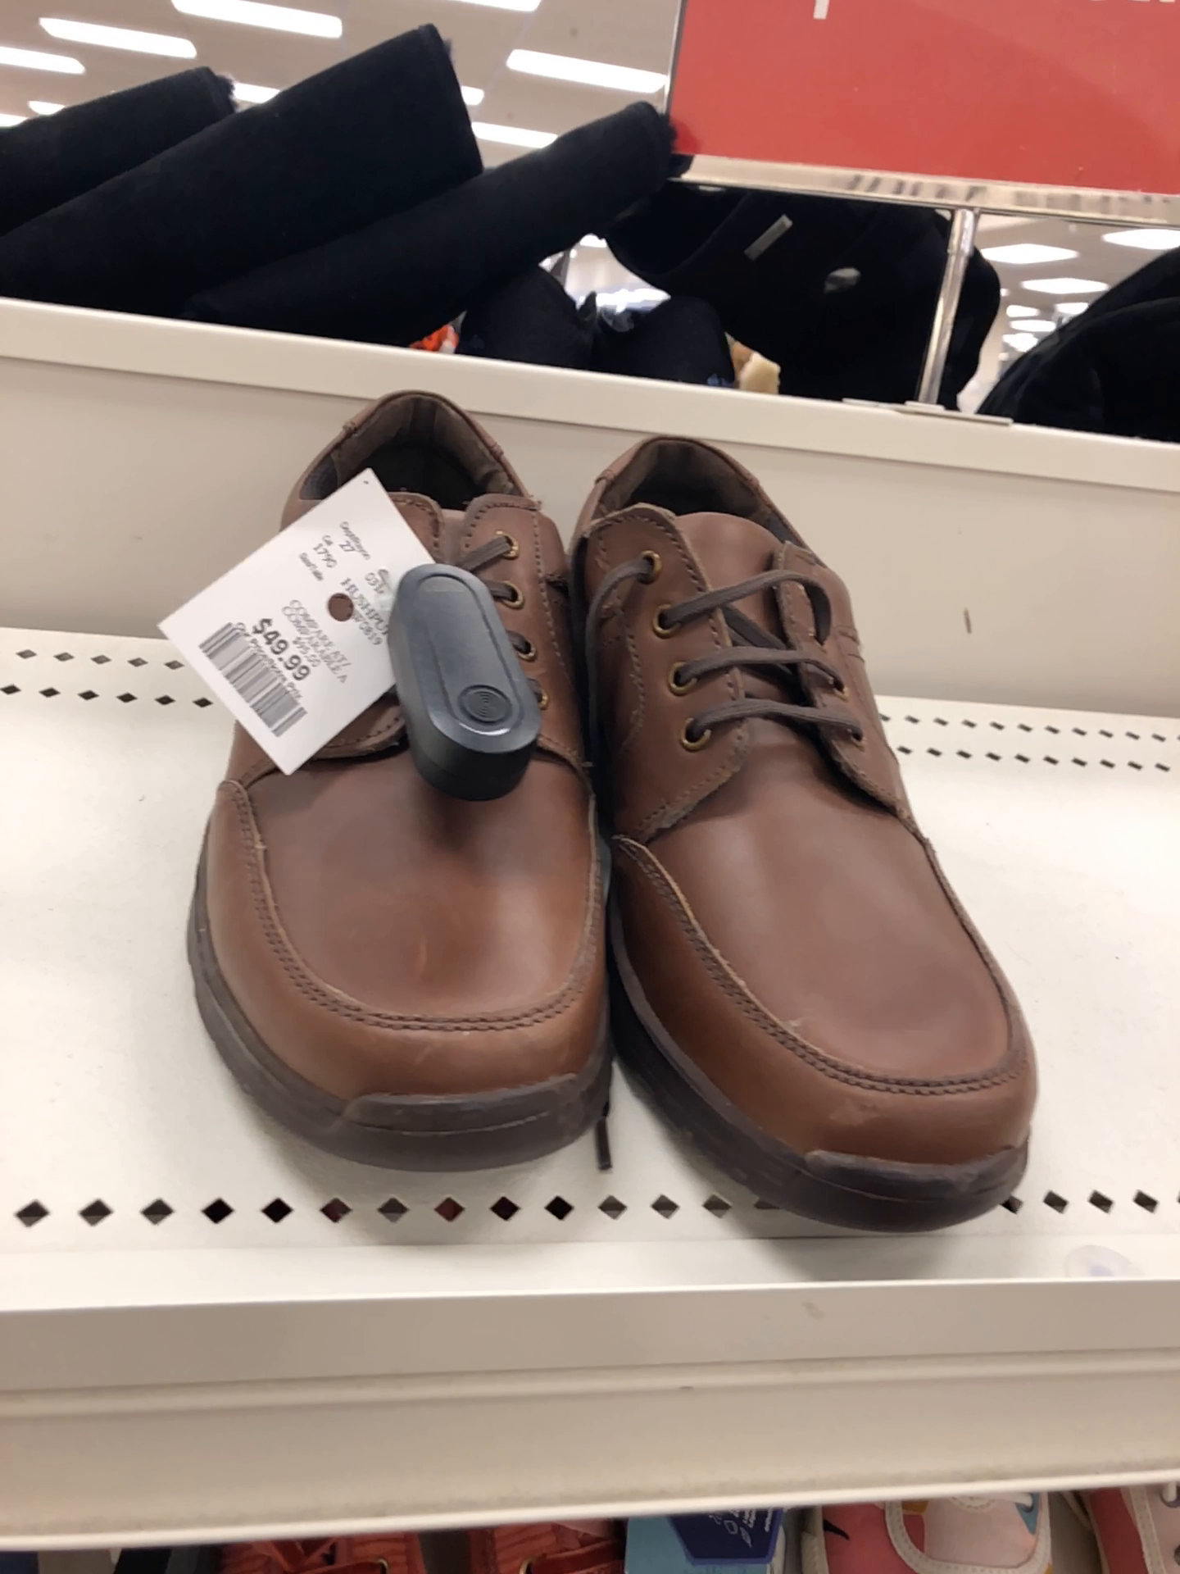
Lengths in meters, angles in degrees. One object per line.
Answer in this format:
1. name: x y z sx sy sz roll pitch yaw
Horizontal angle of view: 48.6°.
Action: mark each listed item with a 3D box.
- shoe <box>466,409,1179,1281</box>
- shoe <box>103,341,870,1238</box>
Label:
1. shoe: 0.052 -0.026 0.388 0.120 0.109 0.342 2 23 -15
2. shoe: -0.050 -0.039 0.371 0.120 0.109 0.332 3 25 -13
